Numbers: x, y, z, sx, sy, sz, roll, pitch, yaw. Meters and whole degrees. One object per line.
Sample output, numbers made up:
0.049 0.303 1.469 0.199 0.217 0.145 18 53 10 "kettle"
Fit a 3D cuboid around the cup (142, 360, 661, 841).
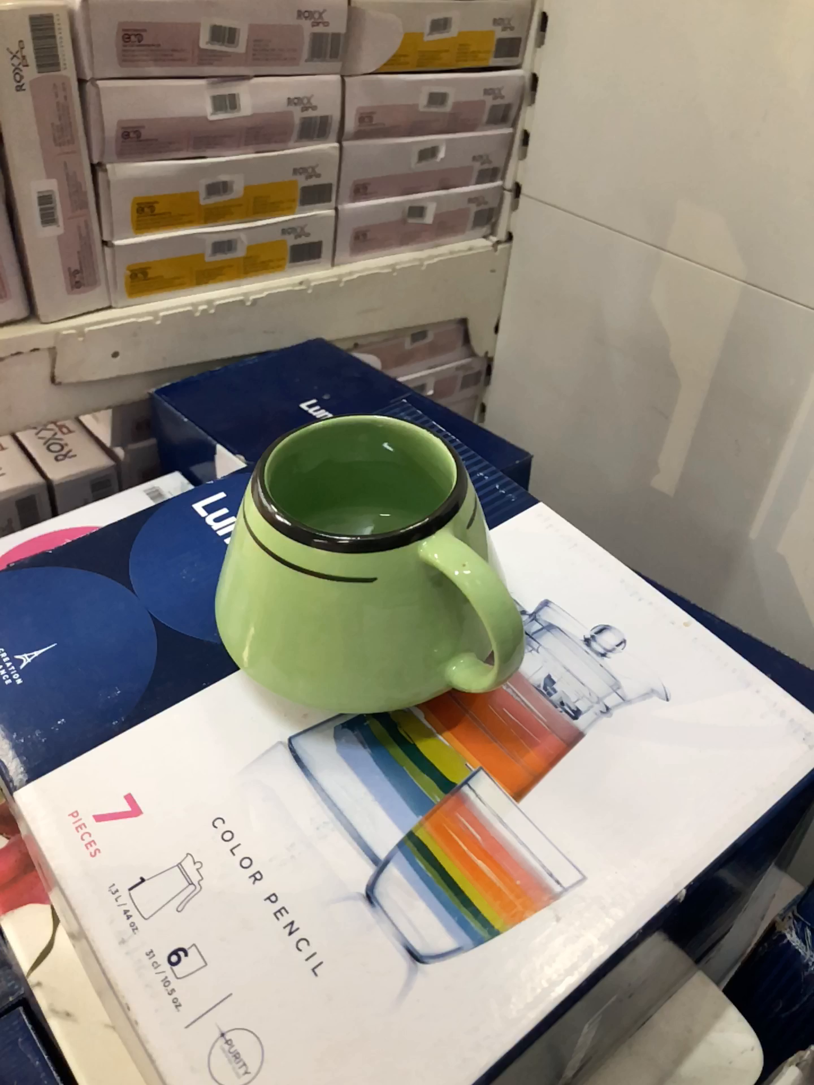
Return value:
-0.009 0.007 0.318 0.110 0.070 0.140 -21 45 -31 "cup"
